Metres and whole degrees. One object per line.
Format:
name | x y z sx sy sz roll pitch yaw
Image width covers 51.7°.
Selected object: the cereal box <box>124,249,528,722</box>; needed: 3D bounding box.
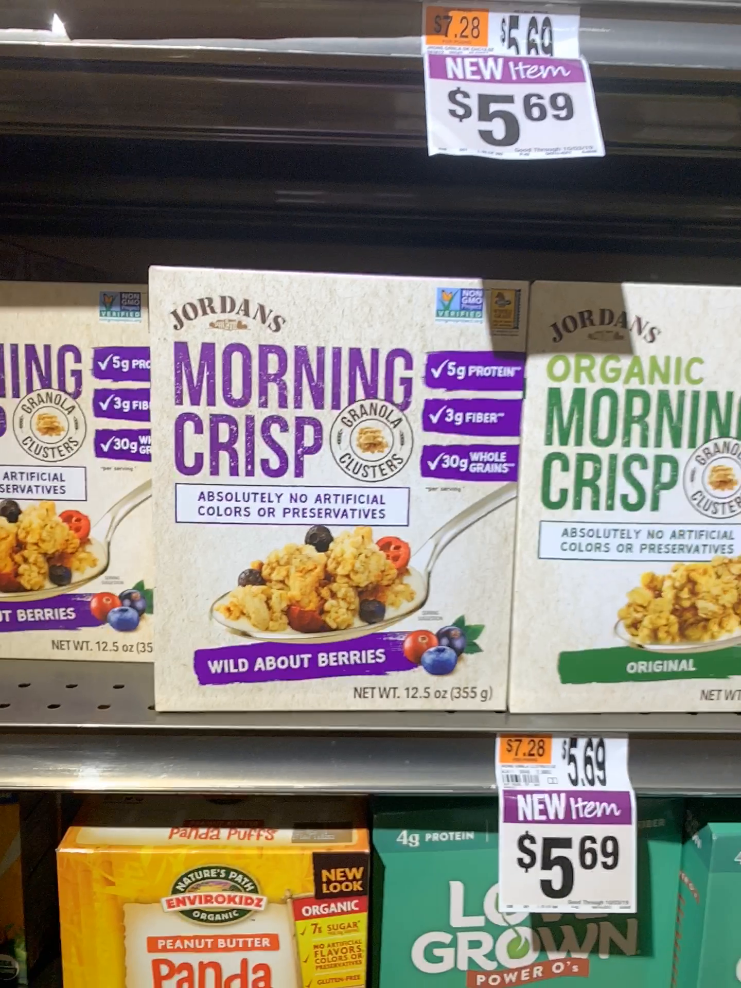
cereal box | -0.022 -0.003 0.386 0.180 0.220 0.060 1 8 -4
